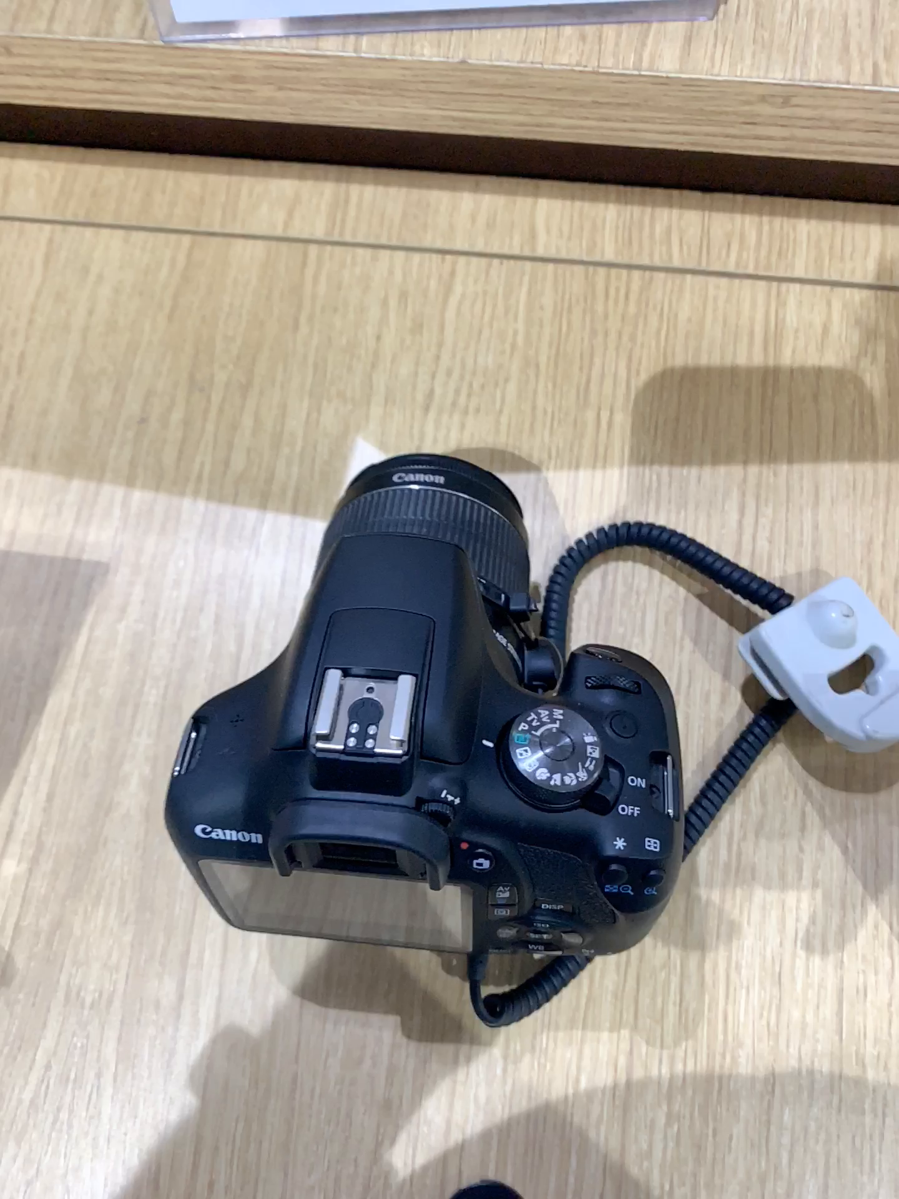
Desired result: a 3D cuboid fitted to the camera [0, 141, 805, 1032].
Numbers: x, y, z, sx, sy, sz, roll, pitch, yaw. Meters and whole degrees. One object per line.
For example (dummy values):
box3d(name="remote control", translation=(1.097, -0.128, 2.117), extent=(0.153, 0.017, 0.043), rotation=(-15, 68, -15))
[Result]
box3d(name="camera", translation=(-0.004, 0.000, 0.226), extent=(0.140, 0.110, 0.160), rotation=(5, 75, 5))
